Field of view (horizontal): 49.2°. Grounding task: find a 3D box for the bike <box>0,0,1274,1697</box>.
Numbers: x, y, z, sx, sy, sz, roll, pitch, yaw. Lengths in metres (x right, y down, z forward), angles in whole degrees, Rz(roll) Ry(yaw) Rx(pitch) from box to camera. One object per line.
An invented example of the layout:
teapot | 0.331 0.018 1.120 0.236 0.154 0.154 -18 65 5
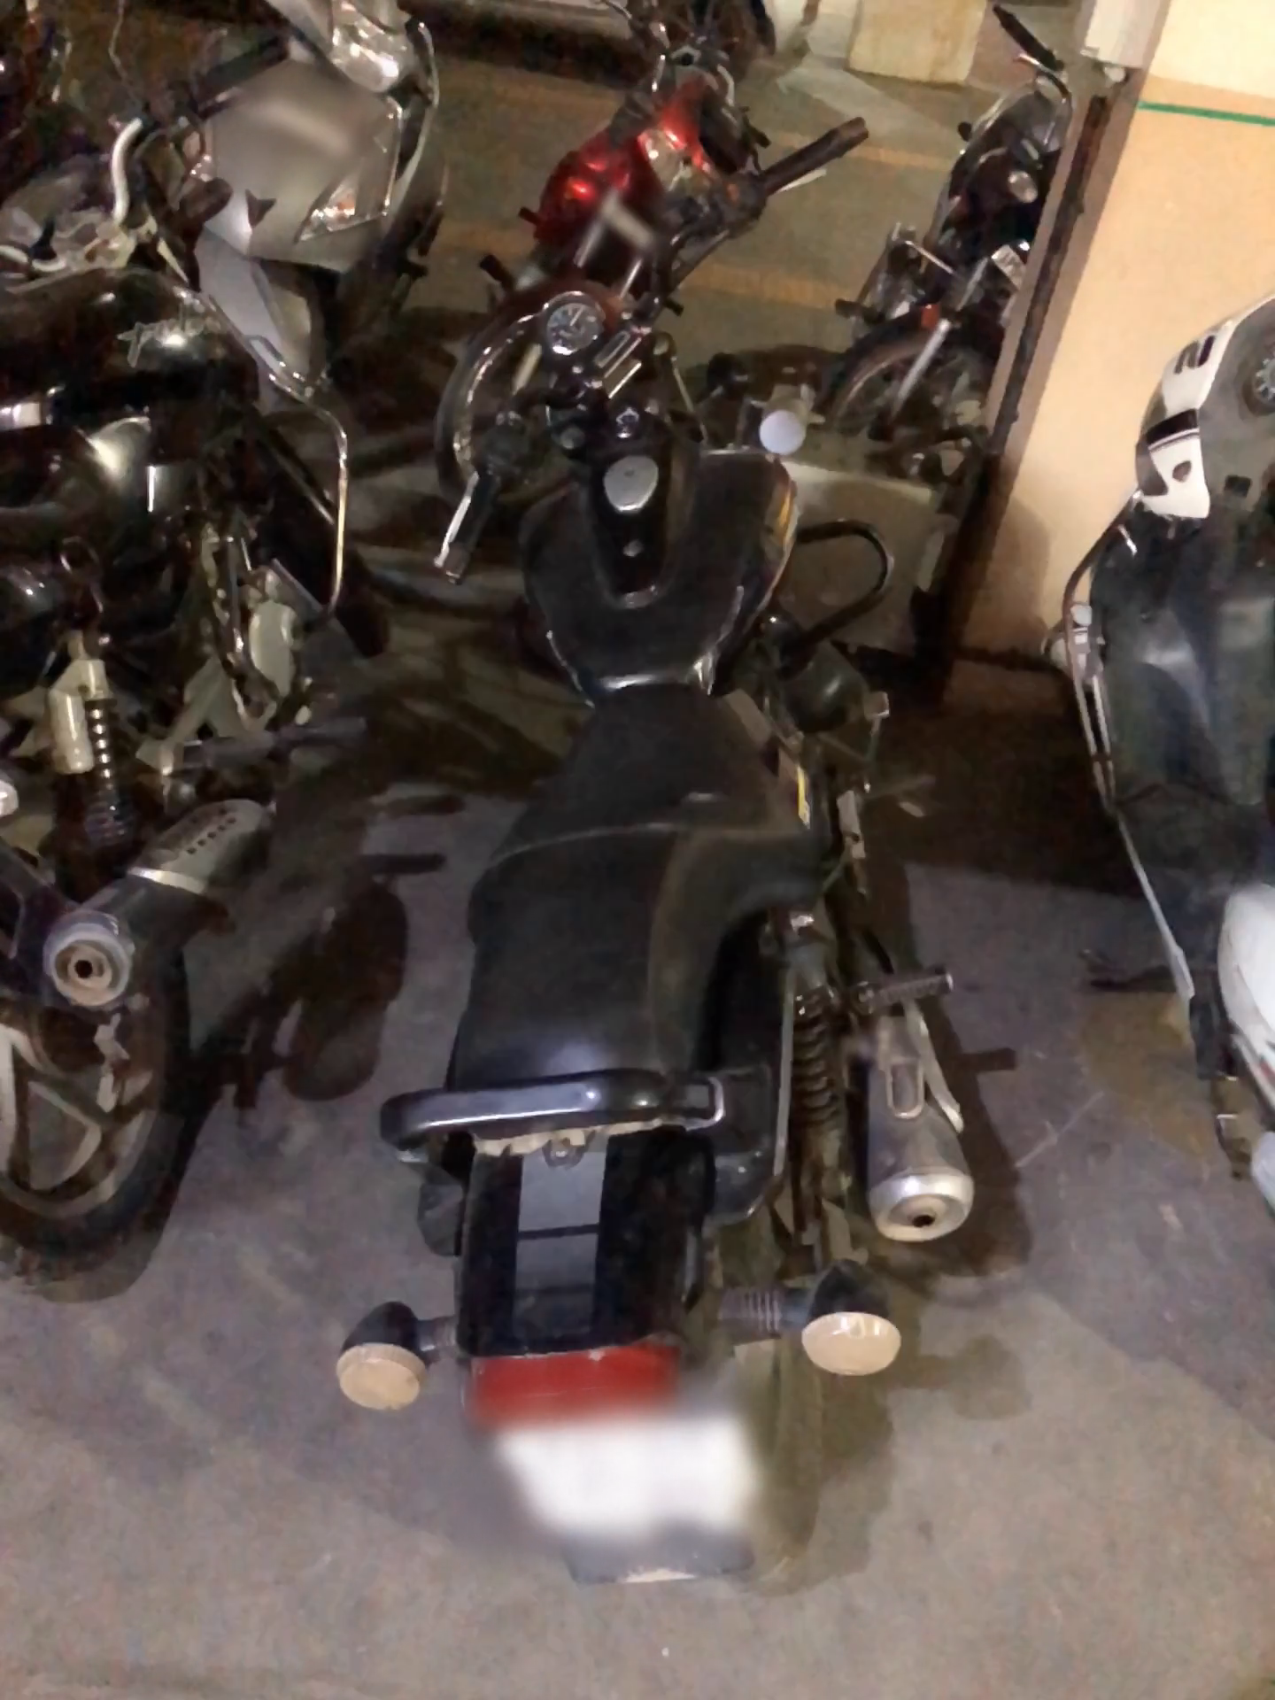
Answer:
bike | -0.100 -0.197 1.678 0.862 1.251 1.678 5 40 -6
